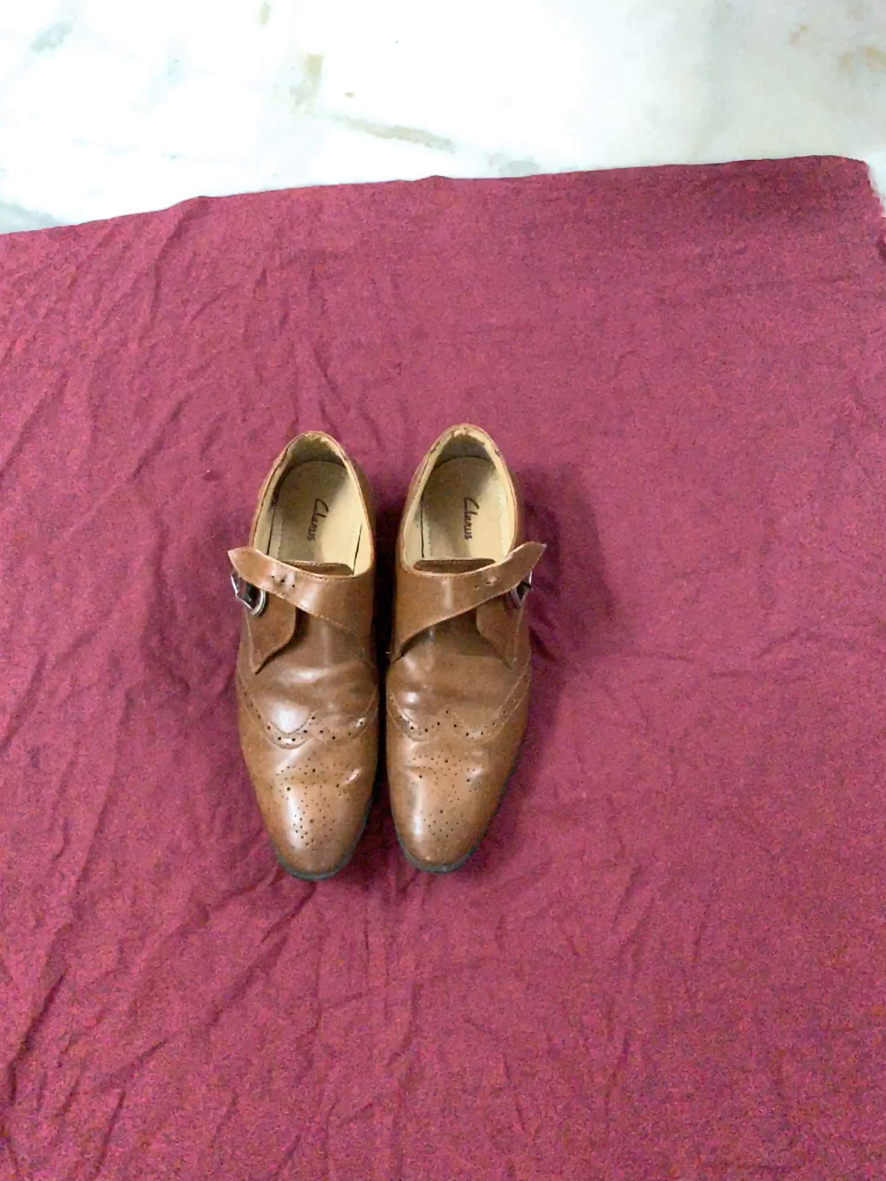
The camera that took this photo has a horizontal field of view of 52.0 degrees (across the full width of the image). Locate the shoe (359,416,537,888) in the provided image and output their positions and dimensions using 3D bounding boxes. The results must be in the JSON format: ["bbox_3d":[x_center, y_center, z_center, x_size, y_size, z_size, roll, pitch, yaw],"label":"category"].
[{"bbox_3d":[0.009,0.037,0.632,0.100,0.090,0.311,3,67,1],"label":"shoe"}]

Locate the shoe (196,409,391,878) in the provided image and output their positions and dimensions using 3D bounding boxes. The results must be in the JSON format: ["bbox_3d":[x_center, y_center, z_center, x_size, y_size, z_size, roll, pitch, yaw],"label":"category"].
[{"bbox_3d":[-0.089,0.030,0.607,0.100,0.090,0.301,0,67,-1],"label":"shoe"}]
